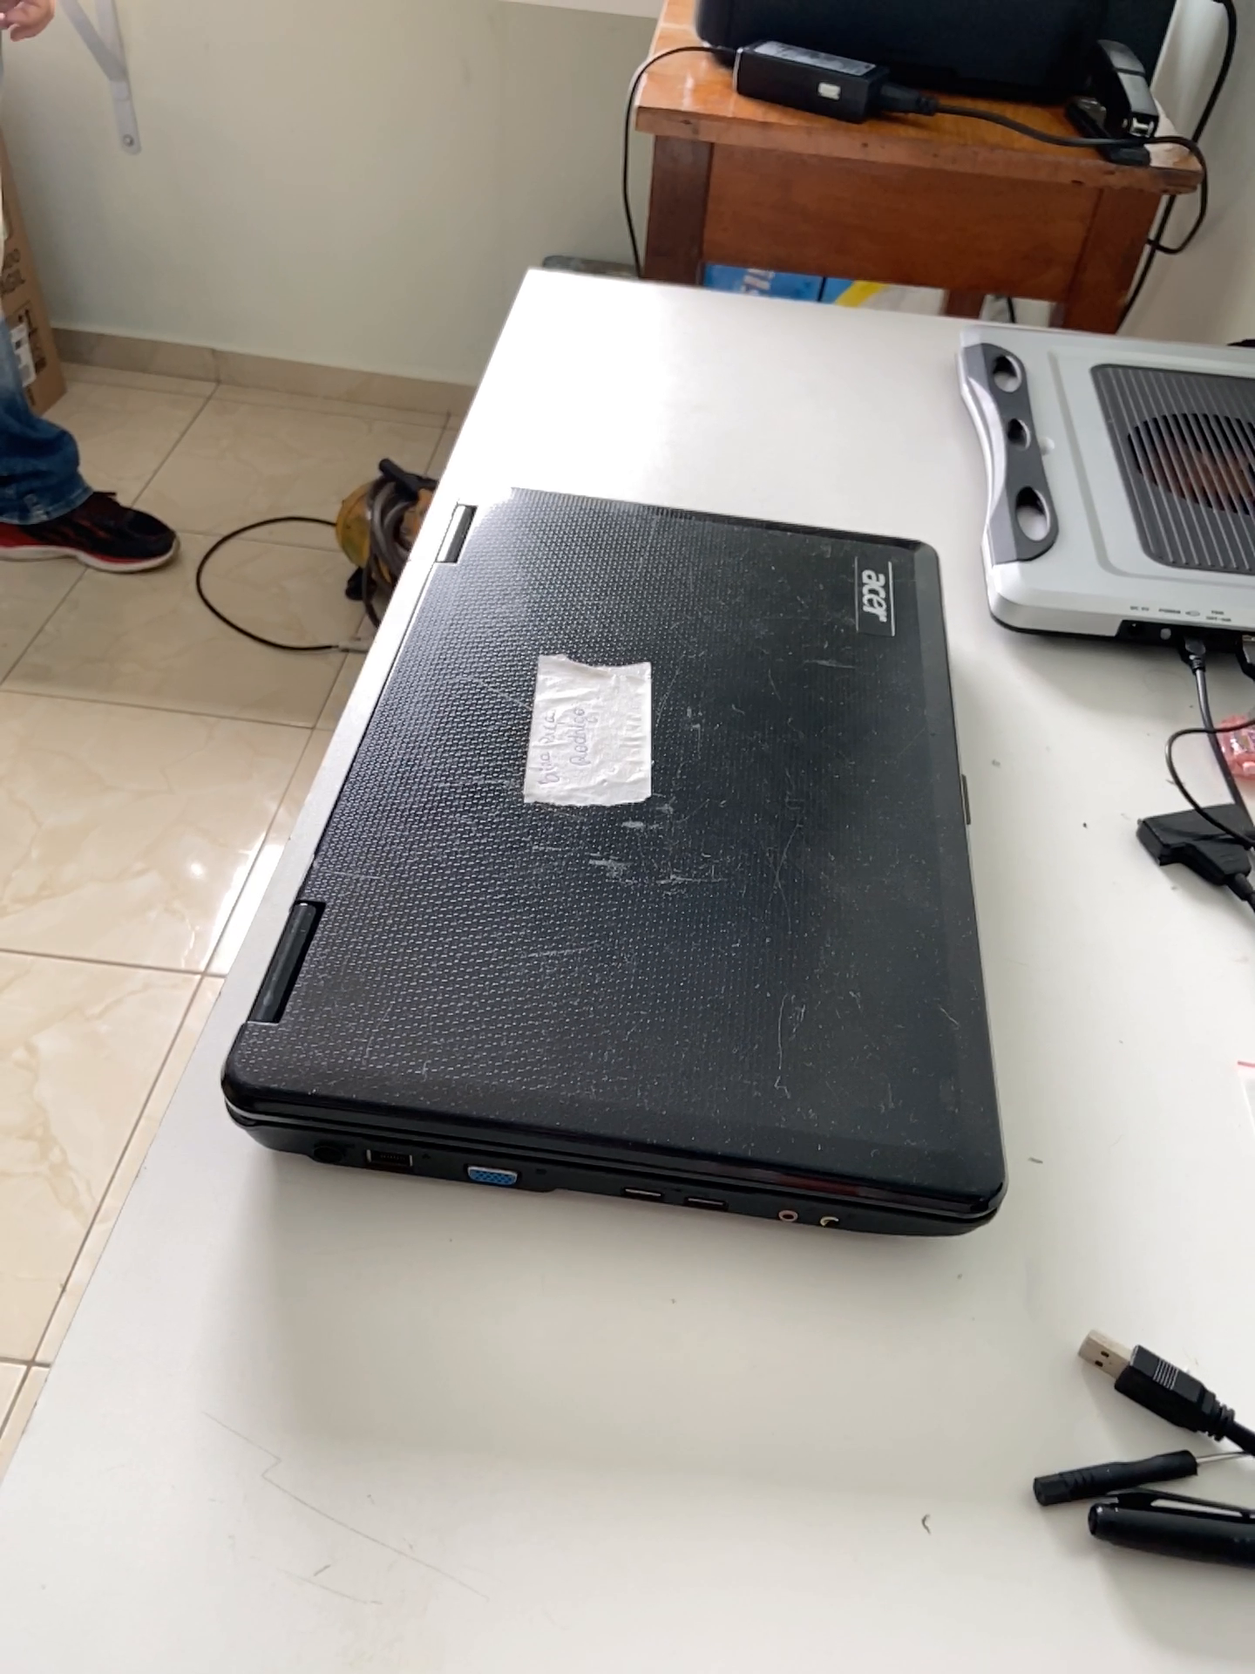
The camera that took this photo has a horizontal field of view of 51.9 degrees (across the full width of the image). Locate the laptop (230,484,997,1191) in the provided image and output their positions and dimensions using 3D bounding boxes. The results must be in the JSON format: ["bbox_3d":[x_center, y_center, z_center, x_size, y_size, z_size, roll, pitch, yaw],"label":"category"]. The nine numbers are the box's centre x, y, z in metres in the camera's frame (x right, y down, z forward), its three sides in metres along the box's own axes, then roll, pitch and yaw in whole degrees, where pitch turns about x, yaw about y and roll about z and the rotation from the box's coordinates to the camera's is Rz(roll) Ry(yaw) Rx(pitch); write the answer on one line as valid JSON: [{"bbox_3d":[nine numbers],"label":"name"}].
[{"bbox_3d":[0.016,-0.035,0.525,0.238,0.005,0.359,8,45,2],"label":"laptop"}]
